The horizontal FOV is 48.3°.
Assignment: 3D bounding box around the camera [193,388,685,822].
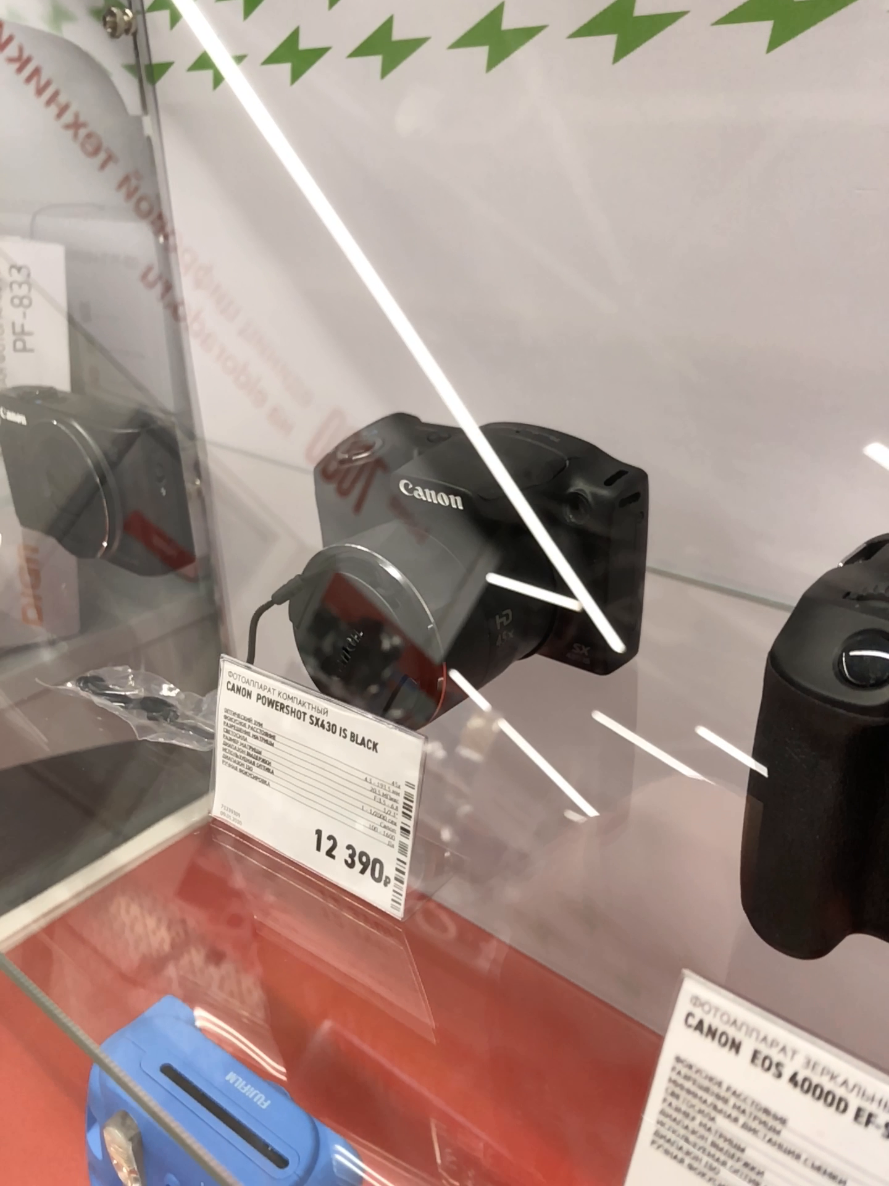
[{"bbox_3d":[-0.002,-0.007,0.300,0.113,0.080,0.086,19,32,37],"label":"camera"}]
